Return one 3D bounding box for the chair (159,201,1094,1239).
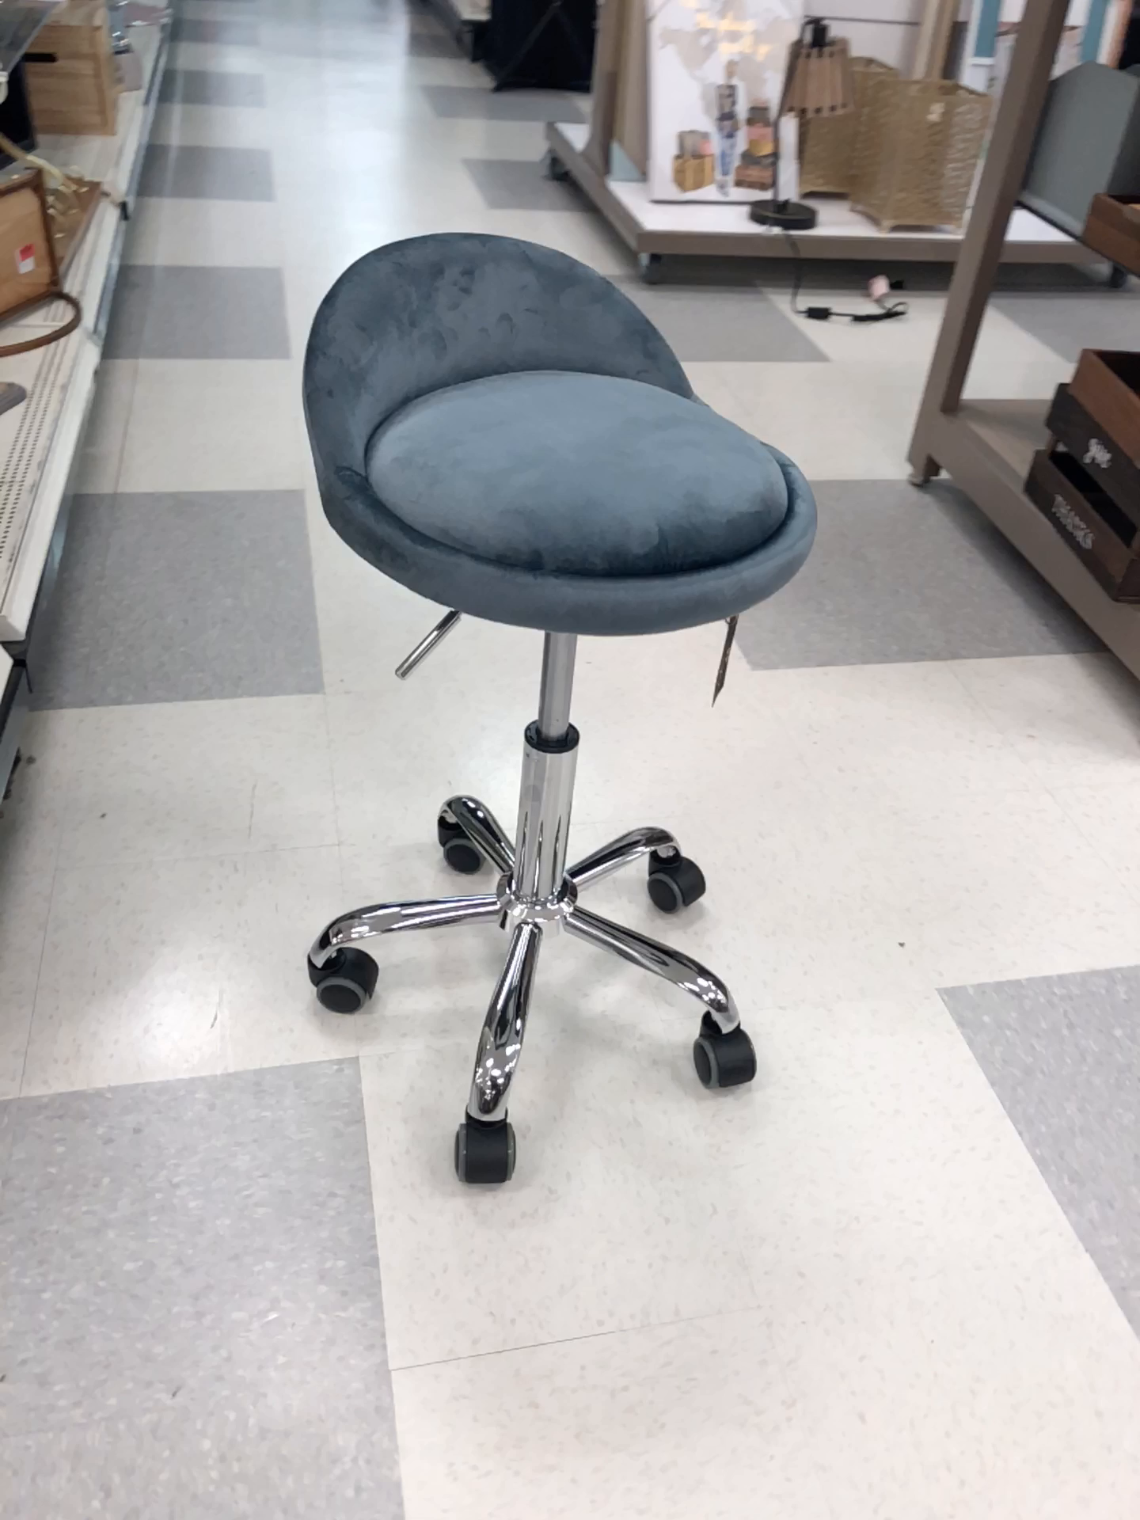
[{"bbox_3d":[-0.002,-0.067,1.071,0.476,0.629,0.484,-18,43,-28],"label":"chair"}]
